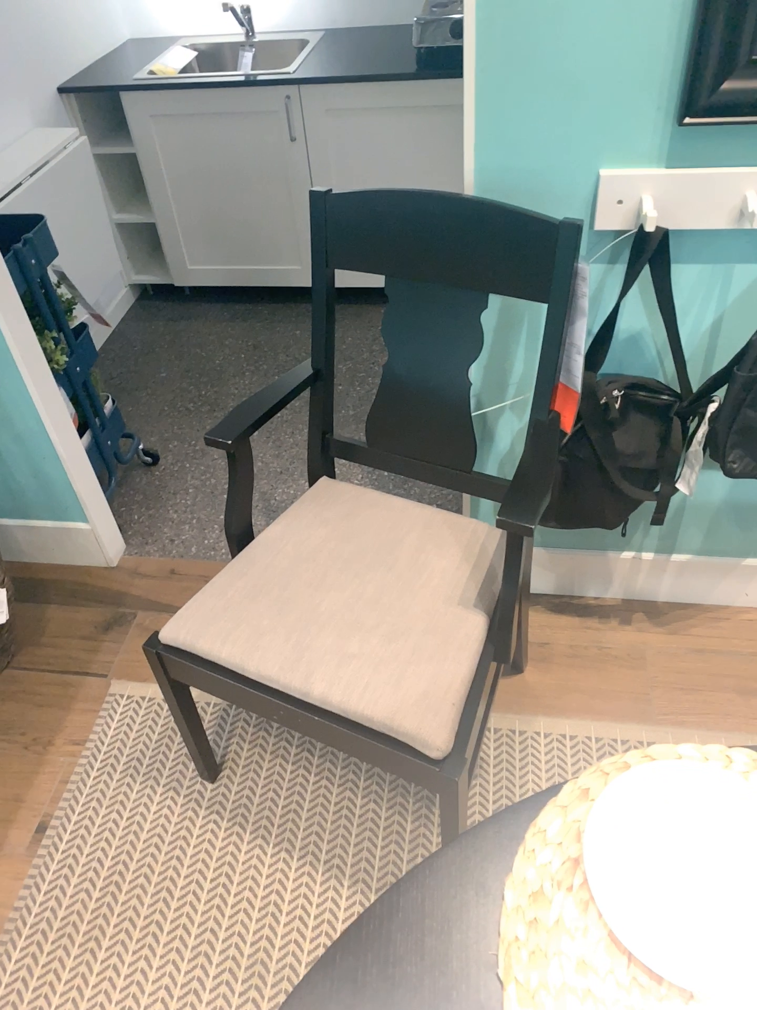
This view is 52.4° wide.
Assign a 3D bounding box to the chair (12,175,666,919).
[{"bbox_3d":[0.040,0.044,1.370,0.601,0.896,0.802,16,47,22],"label":"chair"}]
